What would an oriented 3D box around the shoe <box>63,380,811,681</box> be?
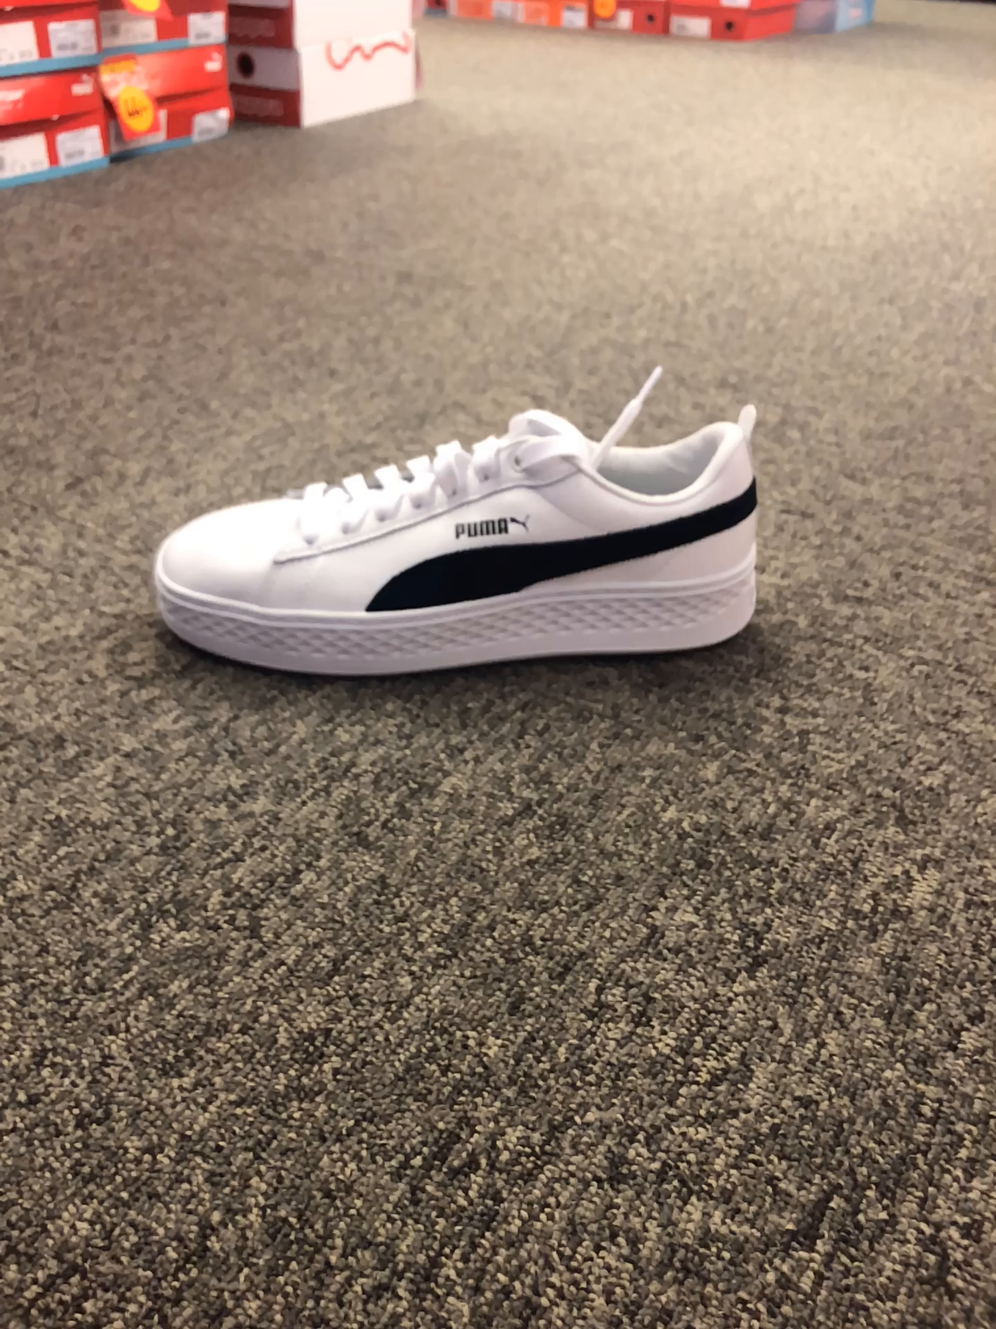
[{"bbox_3d":[-0.023,-0.063,0.499,0.290,0.089,0.111,-1,35,1],"label":"shoe"}]
